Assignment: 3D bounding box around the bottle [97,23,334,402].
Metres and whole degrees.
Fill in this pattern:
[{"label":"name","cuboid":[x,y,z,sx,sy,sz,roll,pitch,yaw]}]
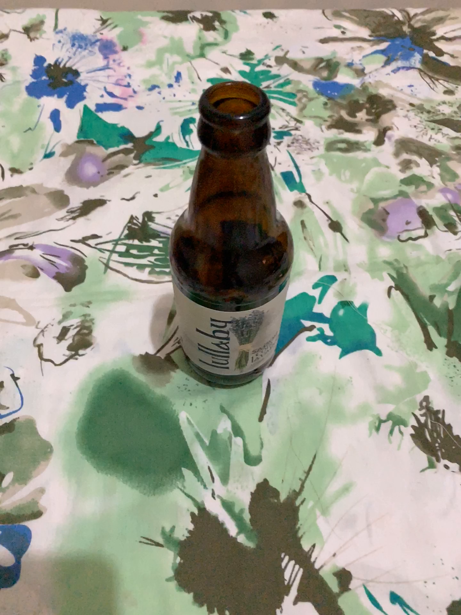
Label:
[{"label":"bottle","cuboid":[-0.003,-0.026,0.234,0.070,0.179,0.070,1,56,-1]}]
